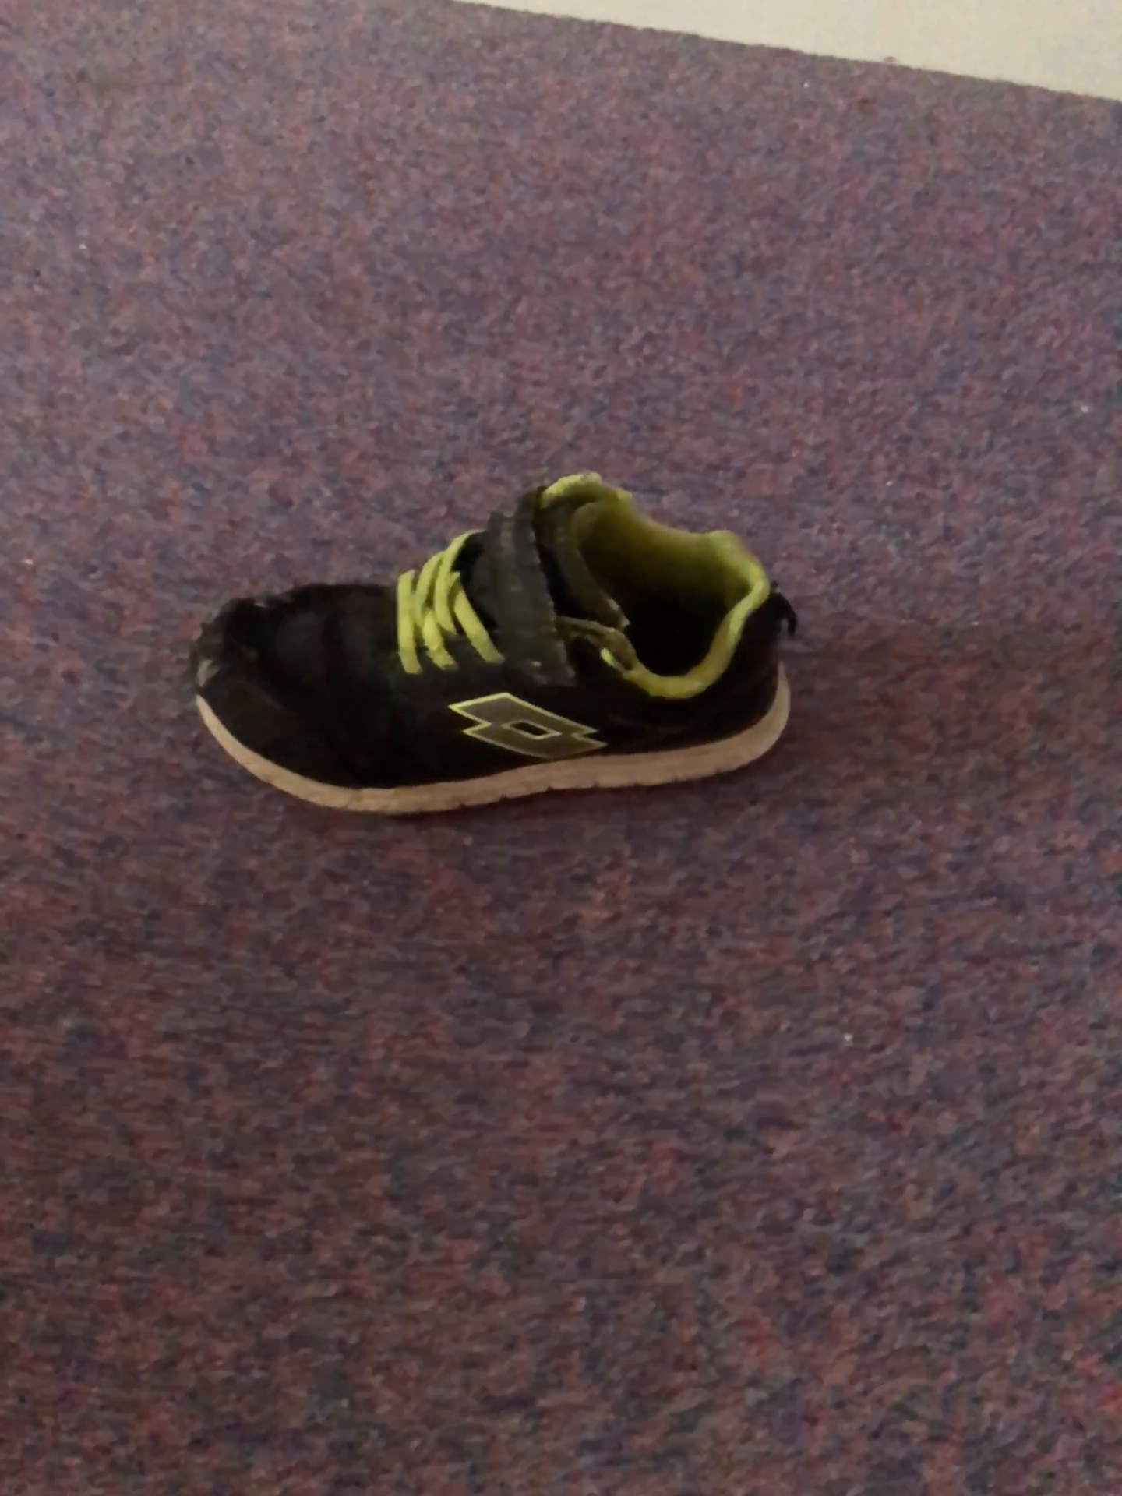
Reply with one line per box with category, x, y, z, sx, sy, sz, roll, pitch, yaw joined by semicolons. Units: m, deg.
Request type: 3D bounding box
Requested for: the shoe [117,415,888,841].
shoe;-0.021;-0.040;0.418;0.220;0.100;0.090;-4;58;-6
